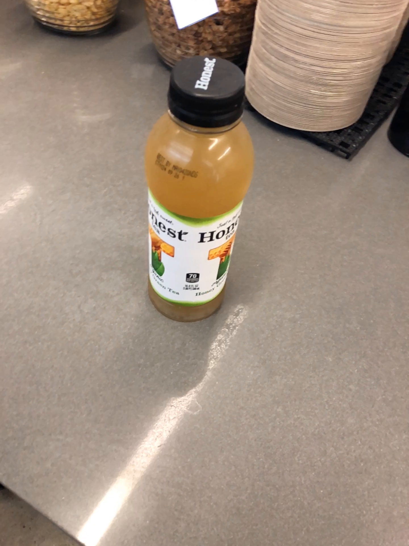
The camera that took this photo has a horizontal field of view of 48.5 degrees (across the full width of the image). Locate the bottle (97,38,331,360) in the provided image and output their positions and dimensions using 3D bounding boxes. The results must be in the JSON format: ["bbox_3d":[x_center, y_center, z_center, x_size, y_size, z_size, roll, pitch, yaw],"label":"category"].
[{"bbox_3d":[-0.004,-0.039,0.319,0.090,0.189,0.090,3,53,-4],"label":"bottle"}]
